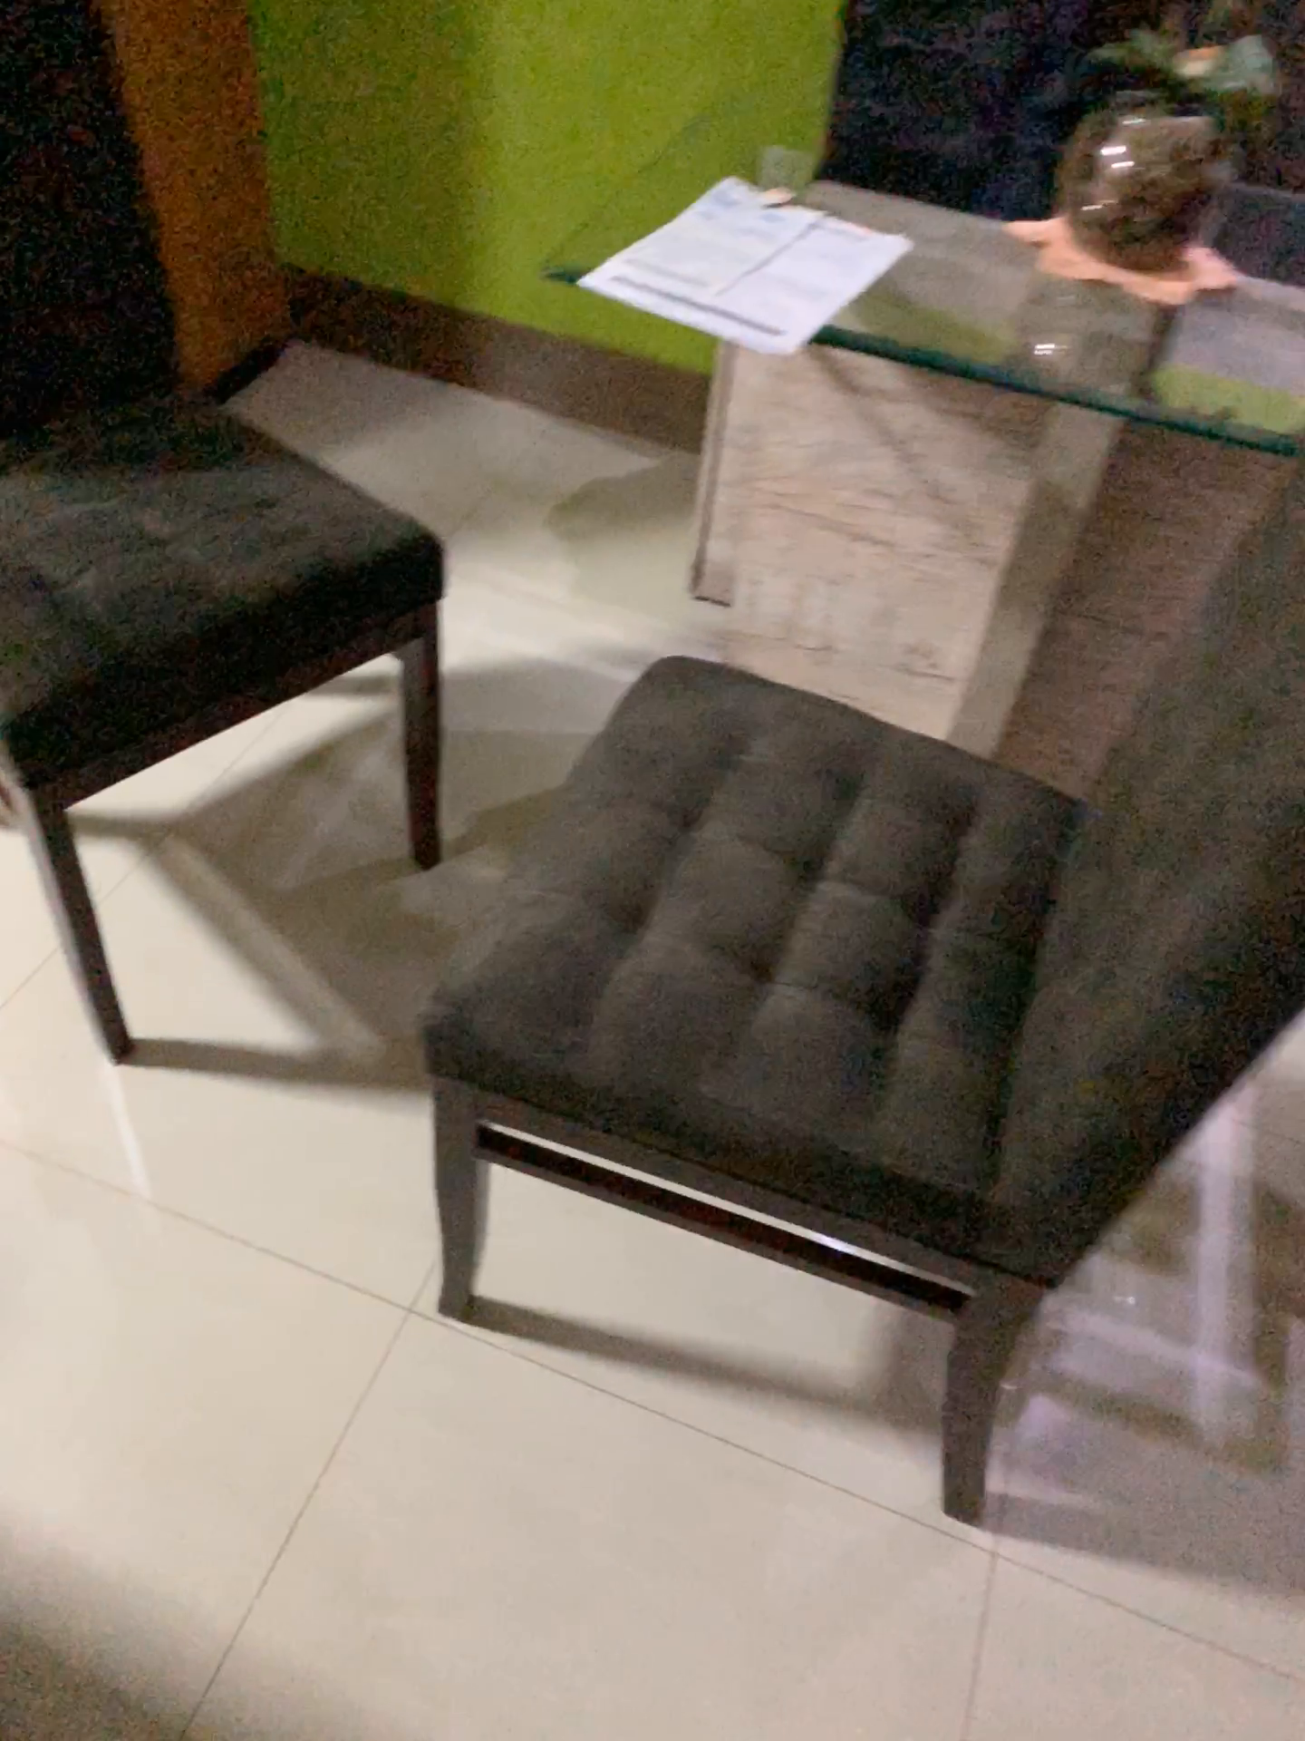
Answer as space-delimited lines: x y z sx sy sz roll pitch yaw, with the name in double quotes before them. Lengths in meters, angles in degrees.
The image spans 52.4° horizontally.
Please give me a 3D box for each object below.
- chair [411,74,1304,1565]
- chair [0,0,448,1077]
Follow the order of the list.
"chair" 0.196 0.021 1.074 0.570 0.971 0.525 19 46 10
"chair" -0.588 -0.390 1.354 0.572 0.981 0.493 36 51 25
